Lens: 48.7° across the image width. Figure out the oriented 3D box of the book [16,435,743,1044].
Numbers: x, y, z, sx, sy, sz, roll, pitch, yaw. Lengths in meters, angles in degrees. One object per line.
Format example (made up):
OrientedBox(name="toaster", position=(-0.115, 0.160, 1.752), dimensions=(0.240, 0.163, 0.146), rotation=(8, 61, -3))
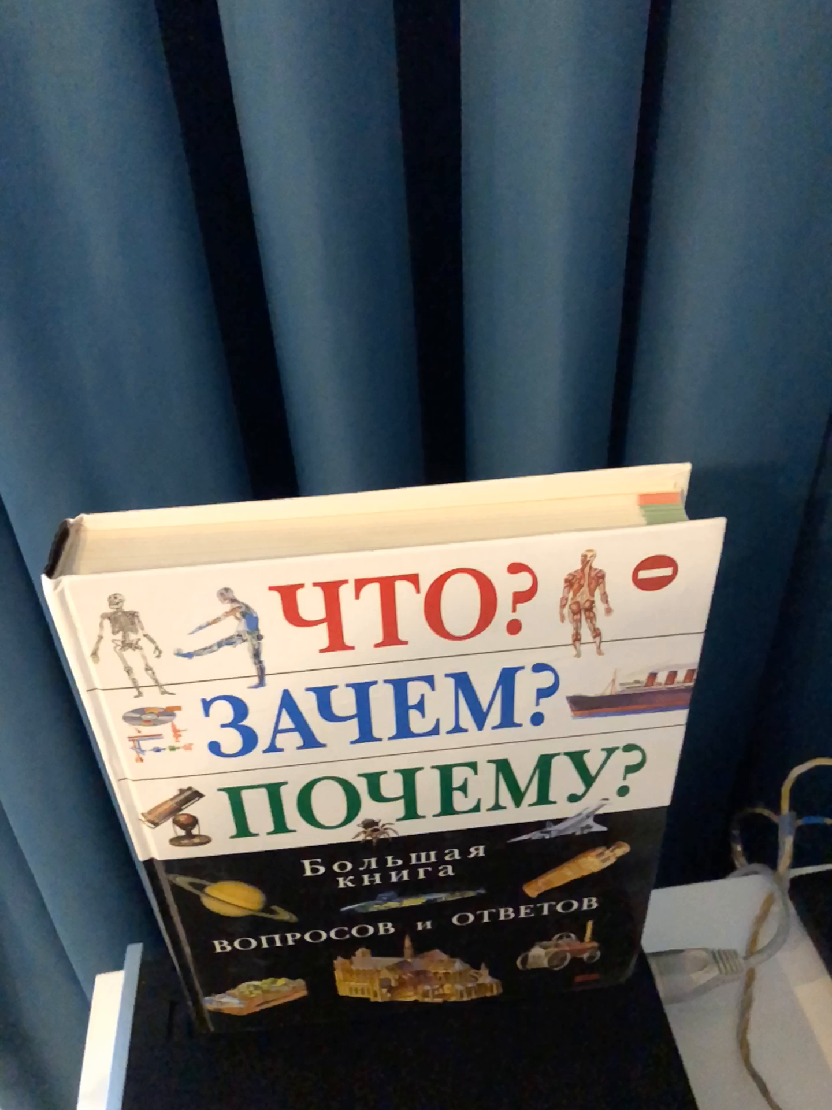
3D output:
OrientedBox(name="book", position=(-0.005, 0.100, 0.389), dimensions=(0.224, 0.300, 0.042), rotation=(-5, 37, -3))
